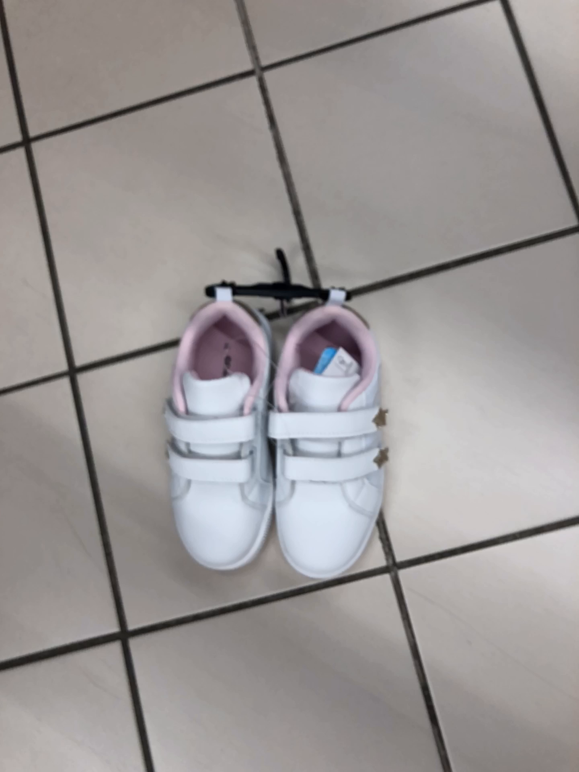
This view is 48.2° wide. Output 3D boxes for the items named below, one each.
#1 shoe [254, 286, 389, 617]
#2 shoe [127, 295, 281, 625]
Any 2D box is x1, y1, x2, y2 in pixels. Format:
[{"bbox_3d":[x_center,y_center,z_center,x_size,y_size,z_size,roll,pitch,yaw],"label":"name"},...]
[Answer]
[{"bbox_3d":[0.024,0.041,0.432,0.080,0.070,0.200,0,81,7],"label":"shoe"},{"bbox_3d":[-0.052,0.046,0.433,0.080,0.070,0.200,0,81,7],"label":"shoe"}]
